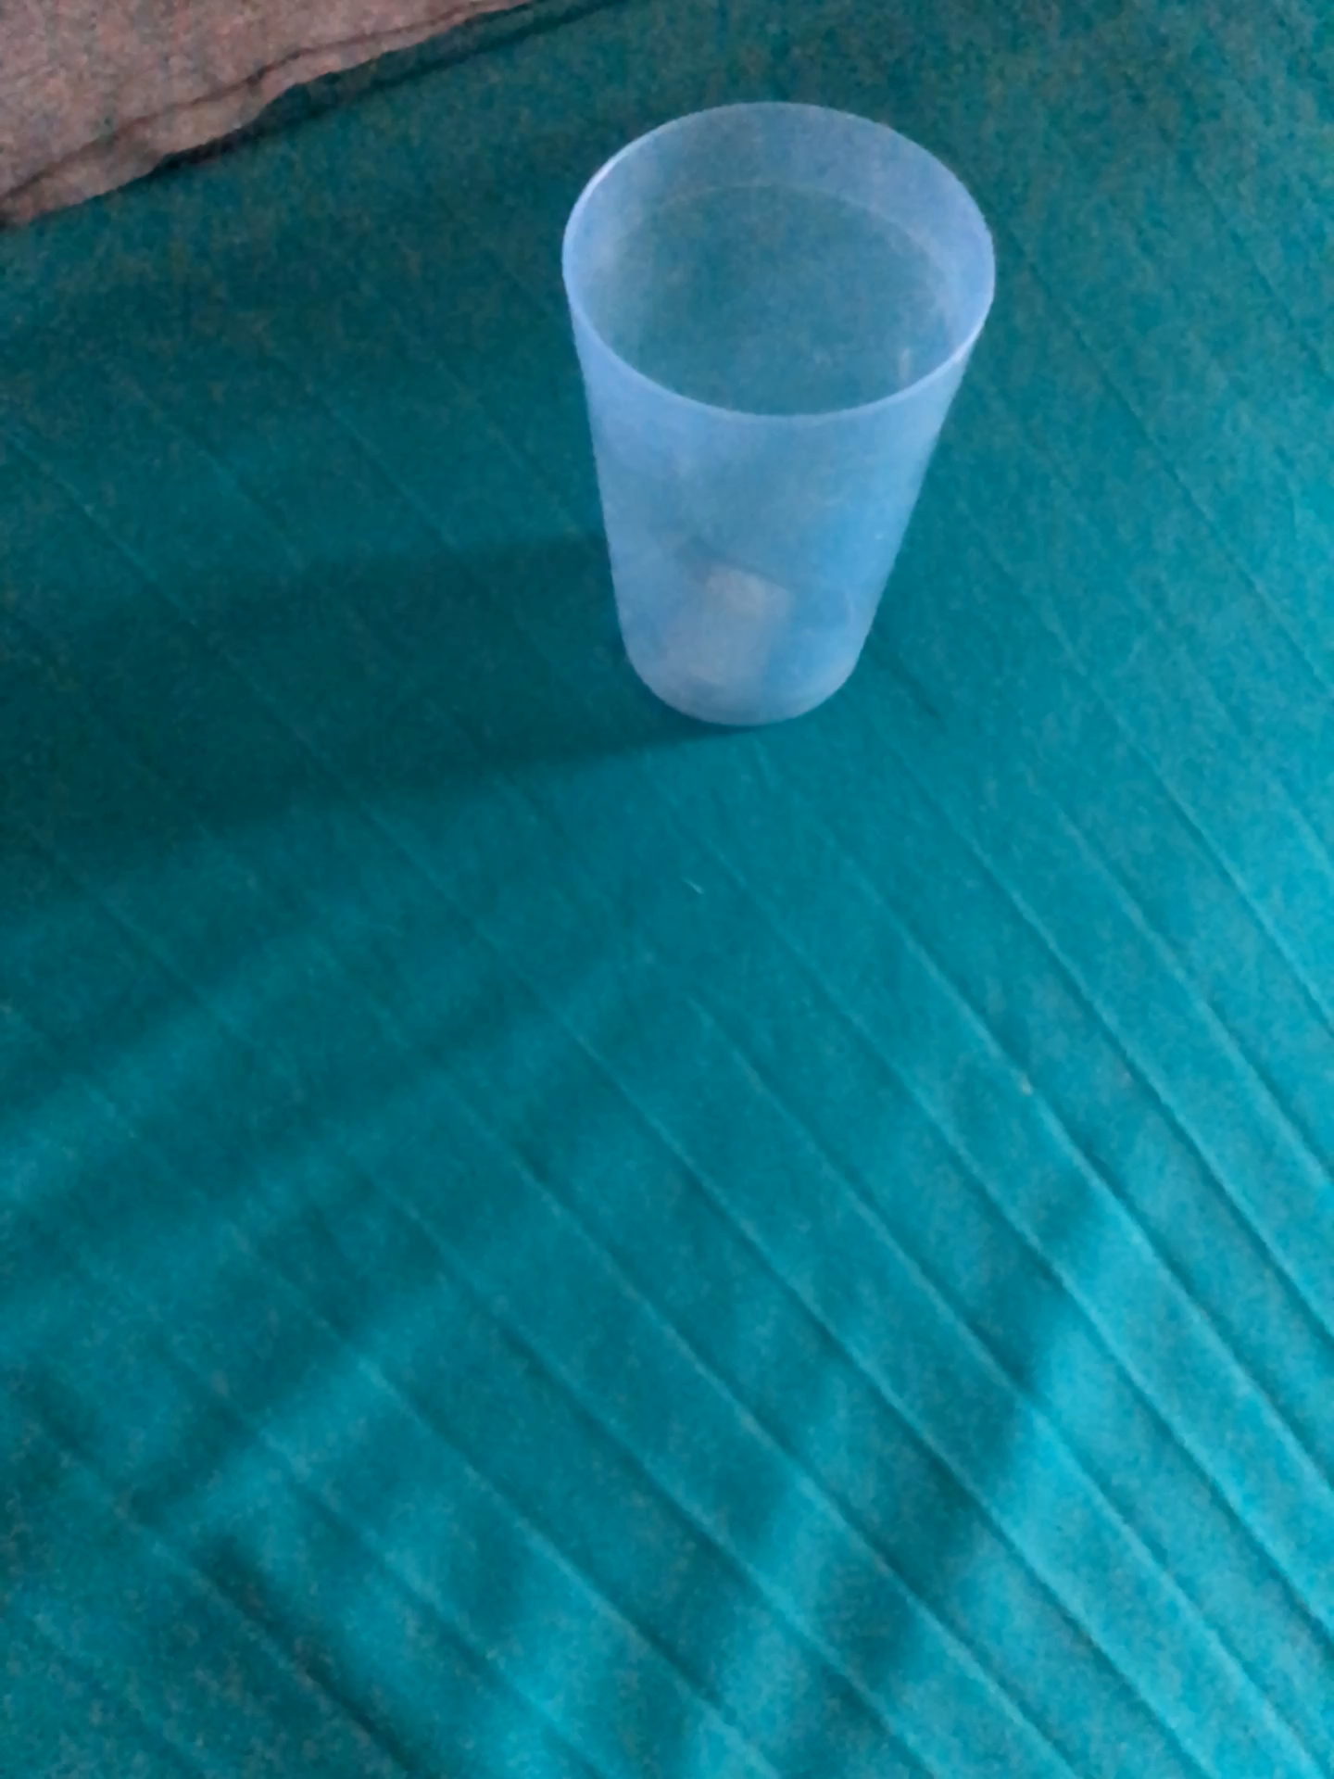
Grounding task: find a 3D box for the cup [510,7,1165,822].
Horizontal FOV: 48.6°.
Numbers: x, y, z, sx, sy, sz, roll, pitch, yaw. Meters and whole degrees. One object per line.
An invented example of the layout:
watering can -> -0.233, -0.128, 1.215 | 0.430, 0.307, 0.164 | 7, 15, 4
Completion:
cup -> 0.022, -0.080, 0.280 | 0.078, 0.119, 0.066 | -24, 71, -12
